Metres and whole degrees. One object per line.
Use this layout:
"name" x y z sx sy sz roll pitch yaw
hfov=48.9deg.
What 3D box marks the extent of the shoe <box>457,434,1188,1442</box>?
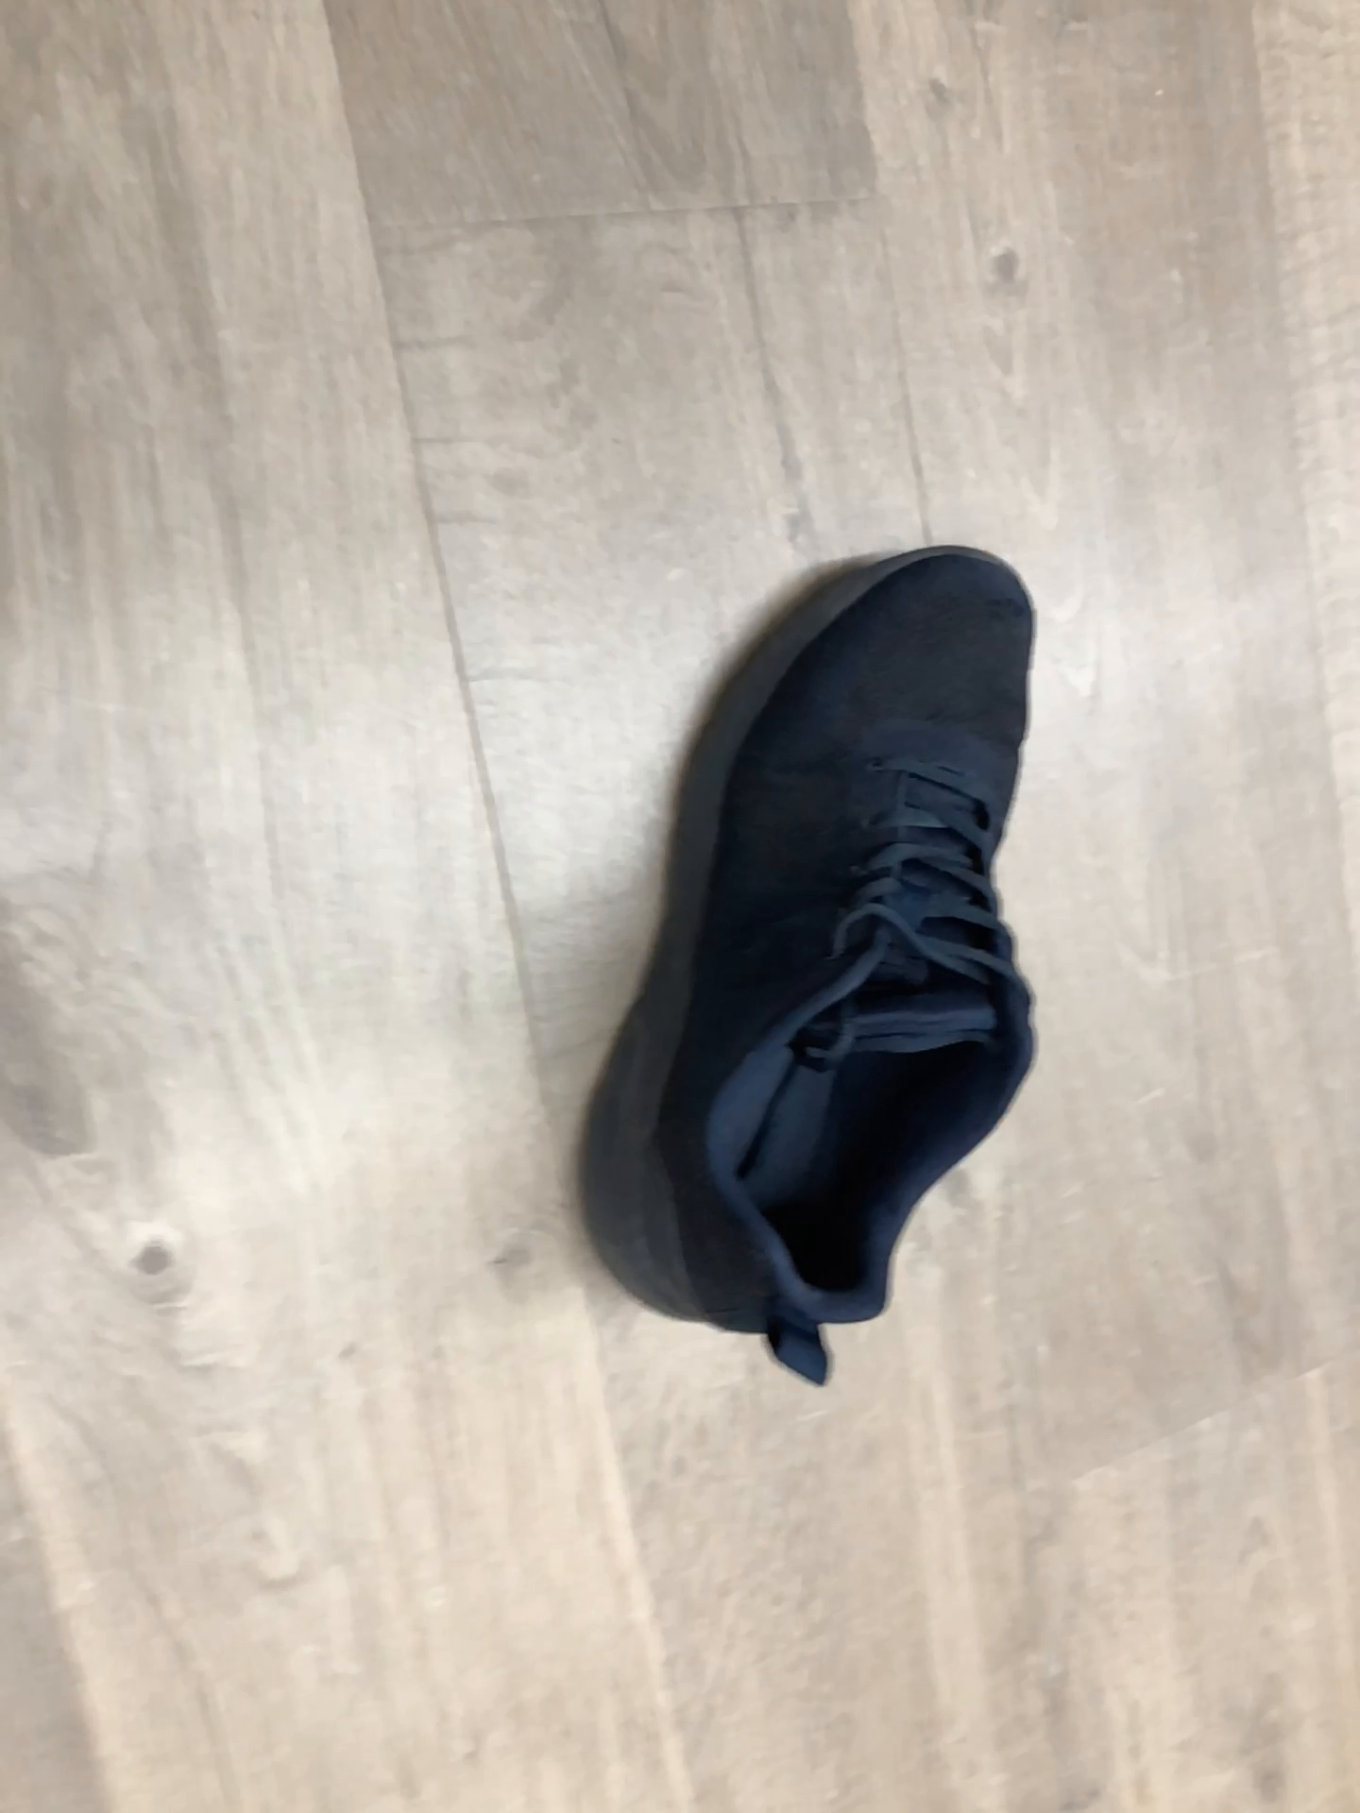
"shoe" 0.044 0.007 0.501 0.100 0.110 0.290 26 84 -23
